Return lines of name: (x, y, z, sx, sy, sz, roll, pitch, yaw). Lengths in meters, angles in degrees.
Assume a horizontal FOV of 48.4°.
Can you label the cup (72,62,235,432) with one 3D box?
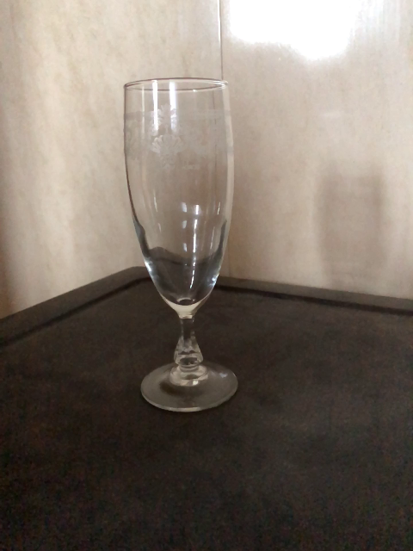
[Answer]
cup: (-0.019, -0.012, 0.238, 0.060, 0.169, 0.060, -3, 15, 1)
